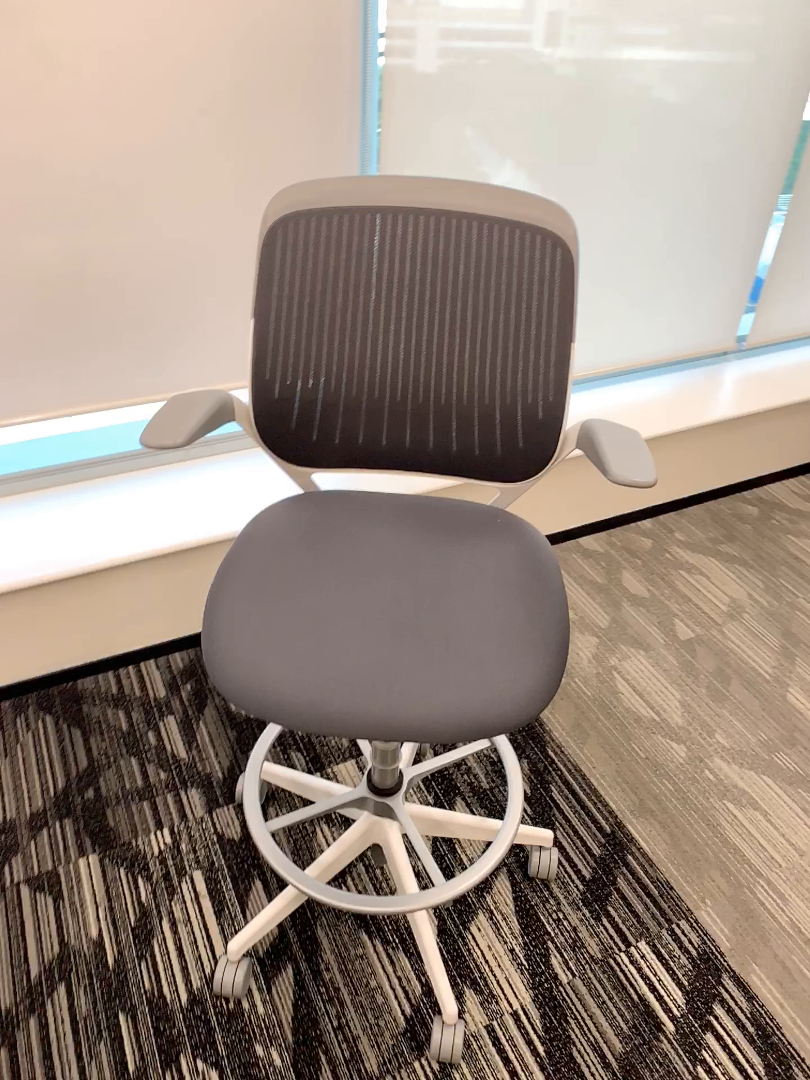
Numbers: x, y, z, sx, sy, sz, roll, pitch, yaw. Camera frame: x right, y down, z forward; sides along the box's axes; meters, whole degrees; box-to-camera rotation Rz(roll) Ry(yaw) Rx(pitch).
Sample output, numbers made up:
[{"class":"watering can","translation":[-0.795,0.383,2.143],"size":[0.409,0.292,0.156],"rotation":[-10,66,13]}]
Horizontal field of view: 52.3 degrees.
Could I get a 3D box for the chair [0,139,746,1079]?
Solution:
[{"class":"chair","translation":[-0.076,0.126,1.223],"size":[0.690,1.140,0.696],"rotation":[7,37,5]}]
